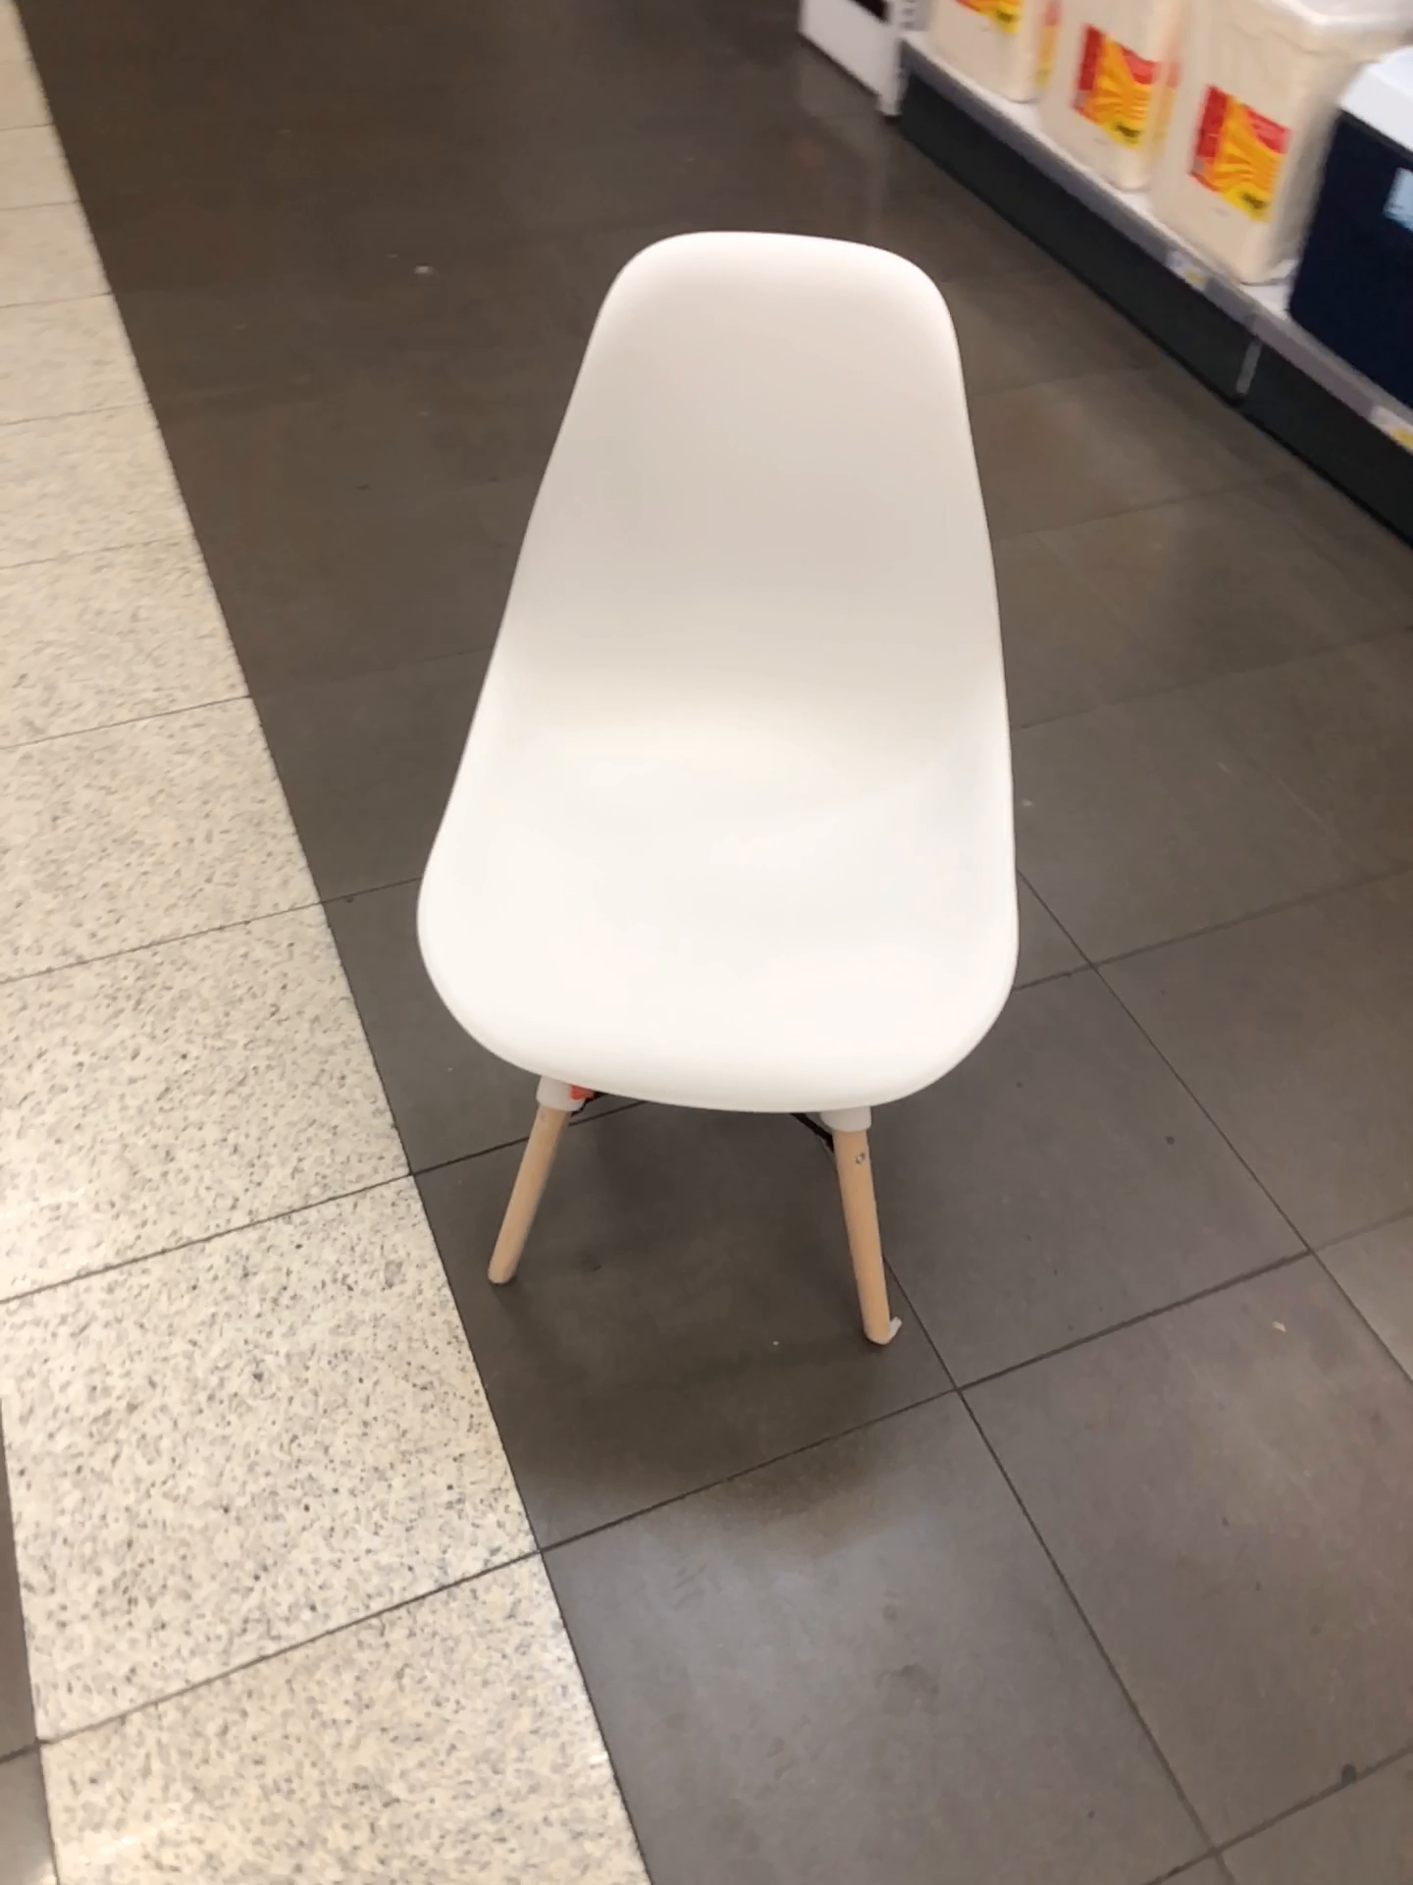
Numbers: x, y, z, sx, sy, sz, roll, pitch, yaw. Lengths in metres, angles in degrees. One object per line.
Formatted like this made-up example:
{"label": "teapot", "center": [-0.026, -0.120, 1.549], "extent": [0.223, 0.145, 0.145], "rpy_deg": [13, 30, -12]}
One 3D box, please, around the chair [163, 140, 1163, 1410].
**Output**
{"label": "chair", "center": [0.007, -0.105, 1.260], "extent": [0.520, 0.794, 0.544], "rpy_deg": [10, 47, 6]}
